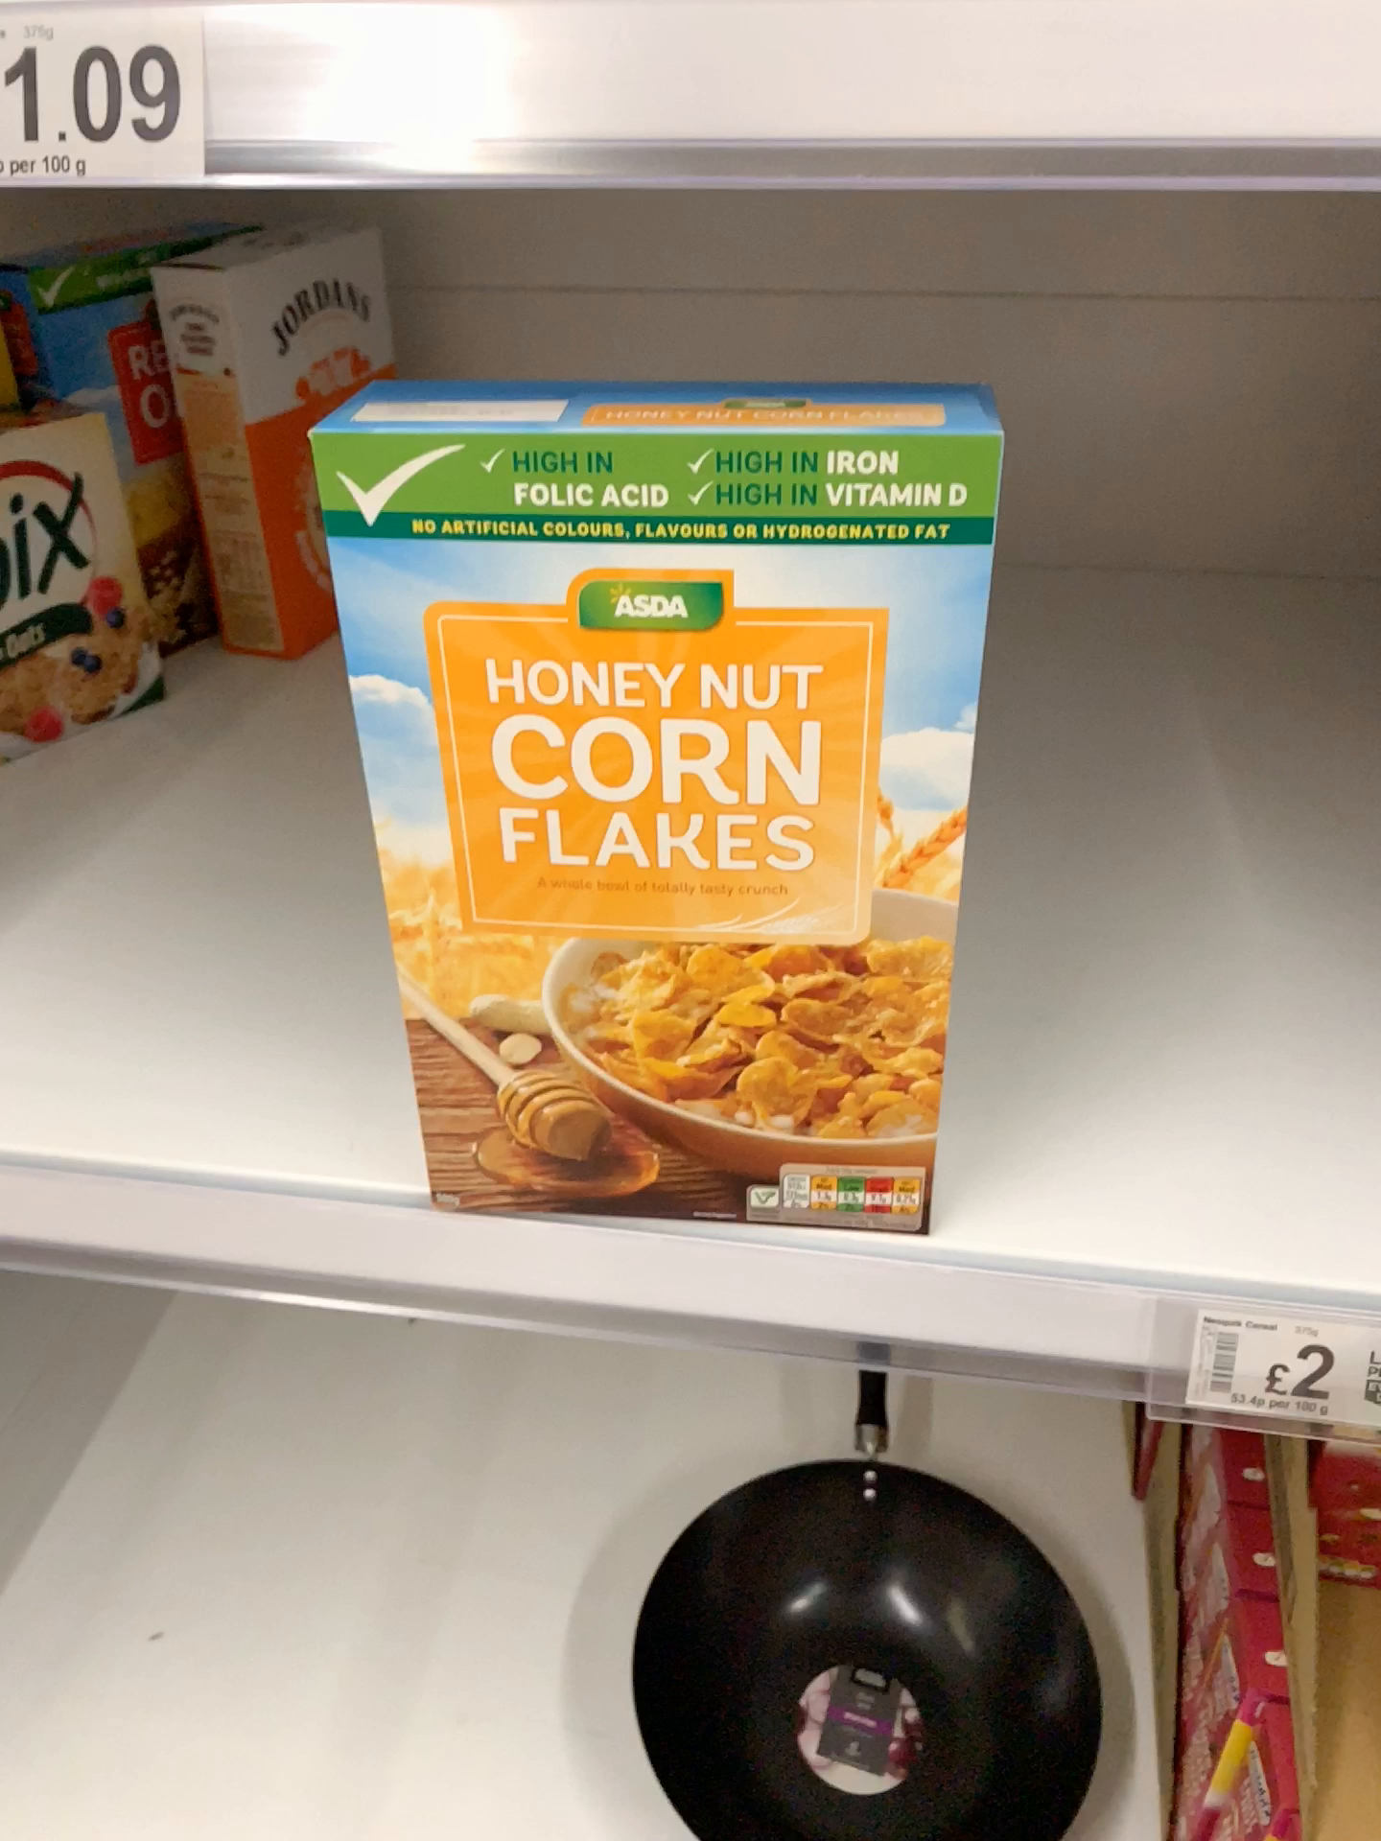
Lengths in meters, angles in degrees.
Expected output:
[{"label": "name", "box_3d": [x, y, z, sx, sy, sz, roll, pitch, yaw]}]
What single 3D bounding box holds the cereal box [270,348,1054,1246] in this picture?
[{"label": "cereal box", "box_3d": [-0.004, -0.028, 0.469, 0.200, 0.287, 0.071, 2, 33, 5]}]
